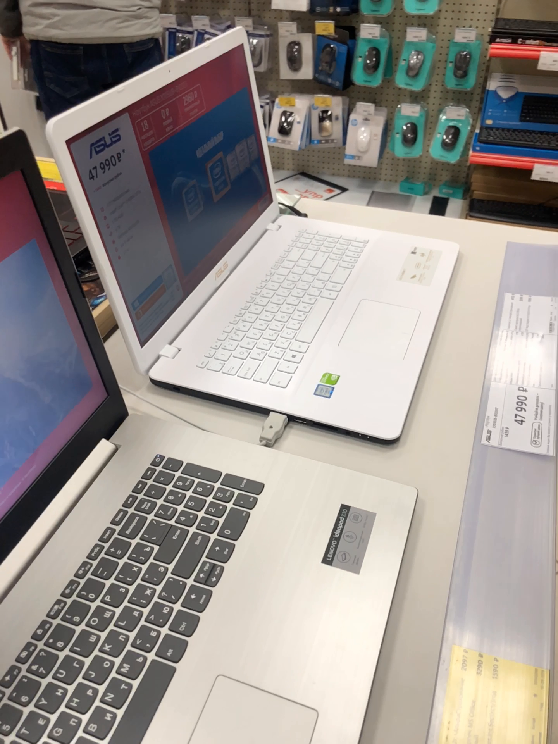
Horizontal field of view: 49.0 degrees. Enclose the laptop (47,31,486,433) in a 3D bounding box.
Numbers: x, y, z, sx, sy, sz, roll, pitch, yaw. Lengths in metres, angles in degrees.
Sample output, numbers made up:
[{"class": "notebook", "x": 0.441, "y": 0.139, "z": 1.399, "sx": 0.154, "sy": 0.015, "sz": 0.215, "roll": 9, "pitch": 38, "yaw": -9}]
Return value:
[{"class": "laptop", "x": 0.028, "y": -0.185, "z": 0.665, "sx": 0.300, "sy": 0.235, "sz": 0.388, "roll": 13, "pitch": 41, "yaw": 14}]
